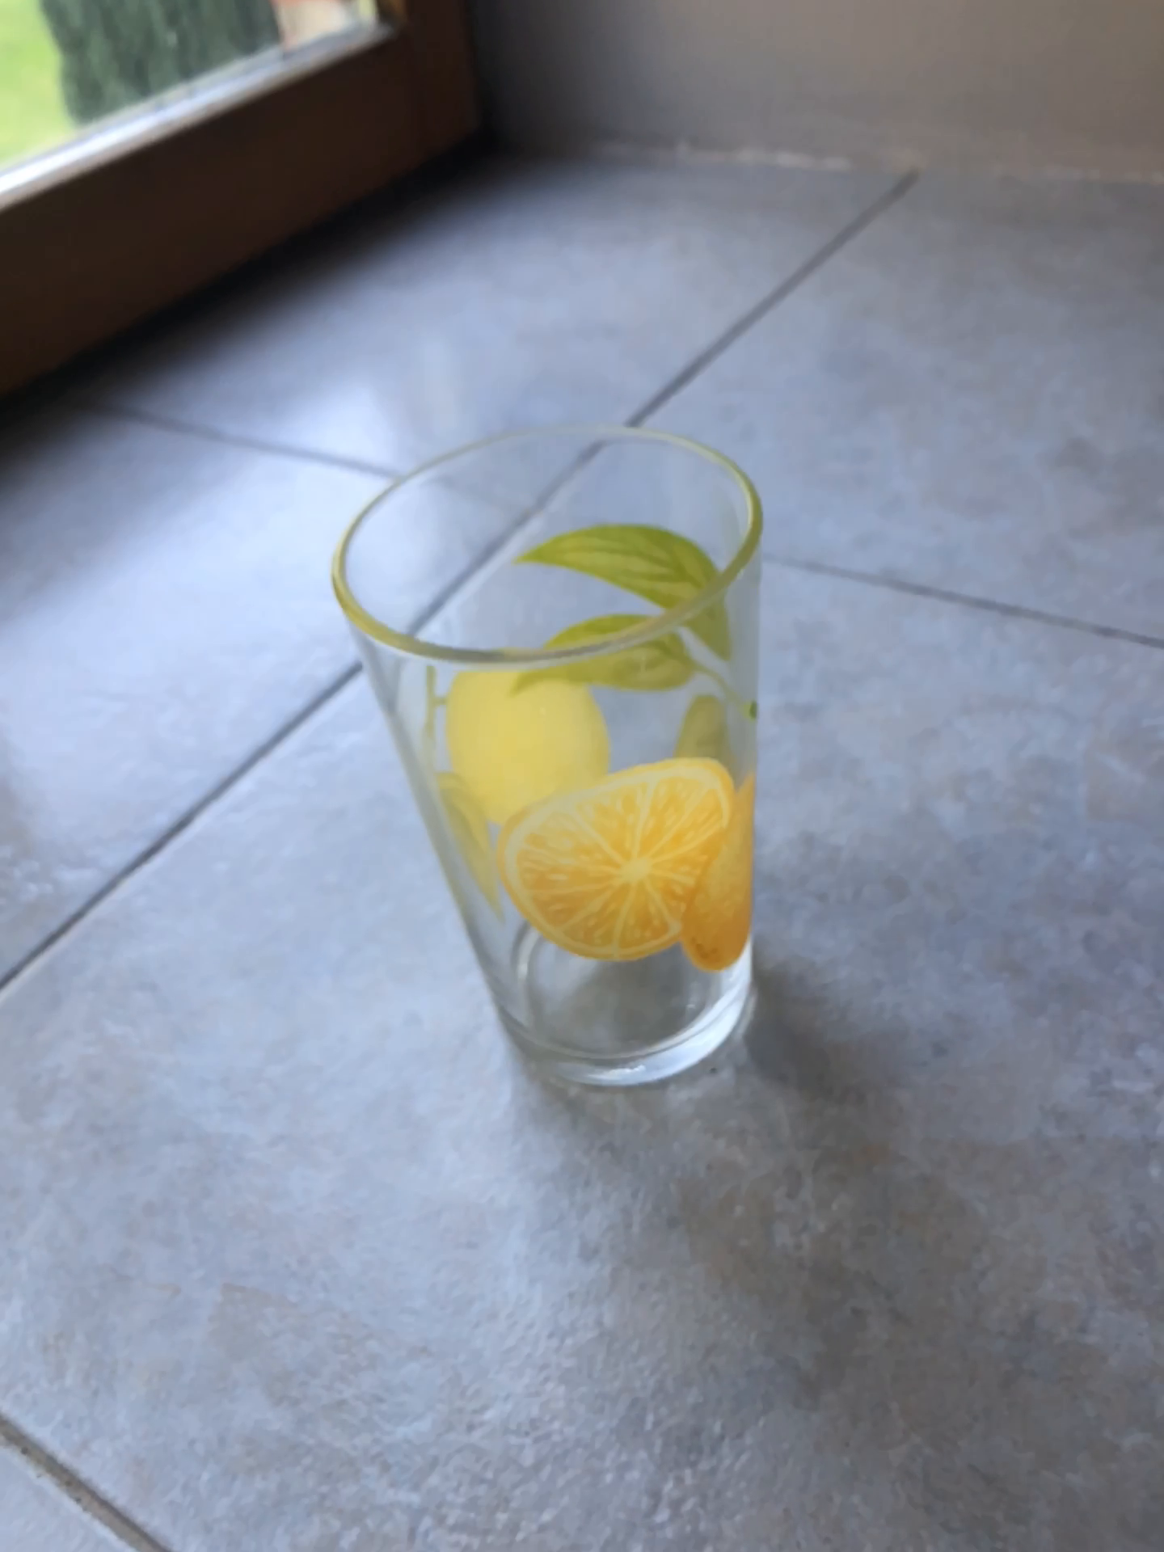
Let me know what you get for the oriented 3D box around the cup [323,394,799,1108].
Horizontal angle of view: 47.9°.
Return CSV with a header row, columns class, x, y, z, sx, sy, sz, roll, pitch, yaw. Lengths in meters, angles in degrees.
class,x,y,z,sx,sy,sz,roll,pitch,yaw
cup,0.000,-0.002,0.253,0.069,0.112,0.070,-4,42,4
